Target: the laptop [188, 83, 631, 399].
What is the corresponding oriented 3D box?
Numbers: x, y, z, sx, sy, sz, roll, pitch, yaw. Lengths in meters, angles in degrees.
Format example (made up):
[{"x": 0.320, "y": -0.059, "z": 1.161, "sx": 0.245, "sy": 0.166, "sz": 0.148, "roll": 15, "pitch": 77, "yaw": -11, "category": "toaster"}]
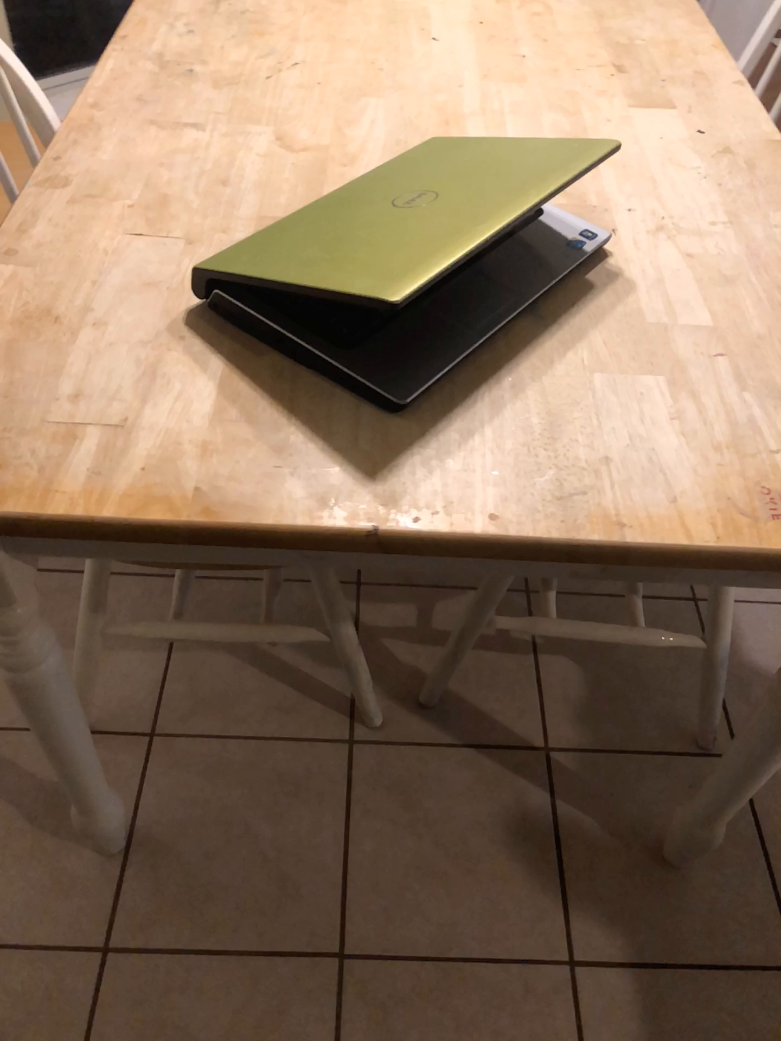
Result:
[{"x": 0.031, "y": -0.282, "z": 0.803, "sx": 0.227, "sy": 0.076, "sz": 0.359, "roll": 33, "pitch": 54, "yaw": 20, "category": "laptop"}]
